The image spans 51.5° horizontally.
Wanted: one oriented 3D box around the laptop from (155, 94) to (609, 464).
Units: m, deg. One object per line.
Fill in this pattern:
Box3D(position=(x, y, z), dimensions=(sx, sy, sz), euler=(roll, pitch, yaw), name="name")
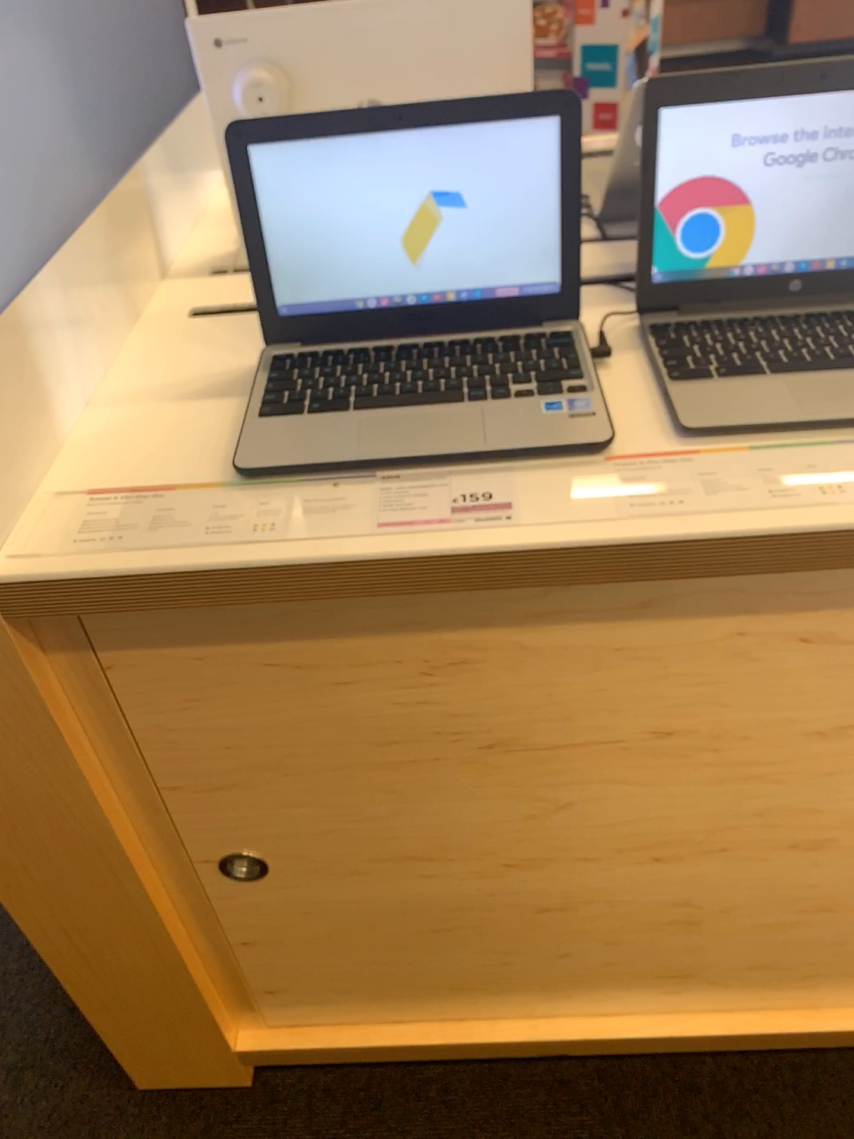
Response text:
Box3D(position=(-0.024, -0.228, 0.683), dimensions=(0.280, 0.183, 0.217), euler=(-4, 40, 3), name="laptop")
